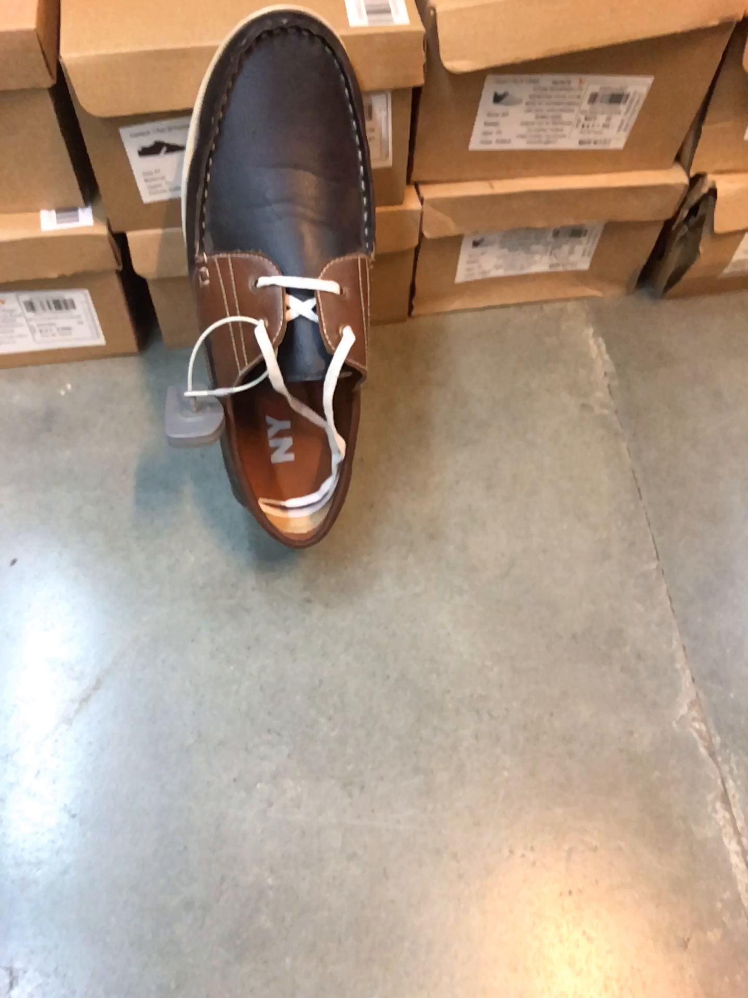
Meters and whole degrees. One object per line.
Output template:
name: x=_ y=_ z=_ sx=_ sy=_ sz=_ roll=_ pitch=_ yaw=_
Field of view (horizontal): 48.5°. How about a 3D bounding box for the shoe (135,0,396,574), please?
shoe: x=-0.047 y=-0.104 z=0.427 sx=0.102 sy=0.263 sz=0.099 roll=-3 pitch=25 yaw=-6
